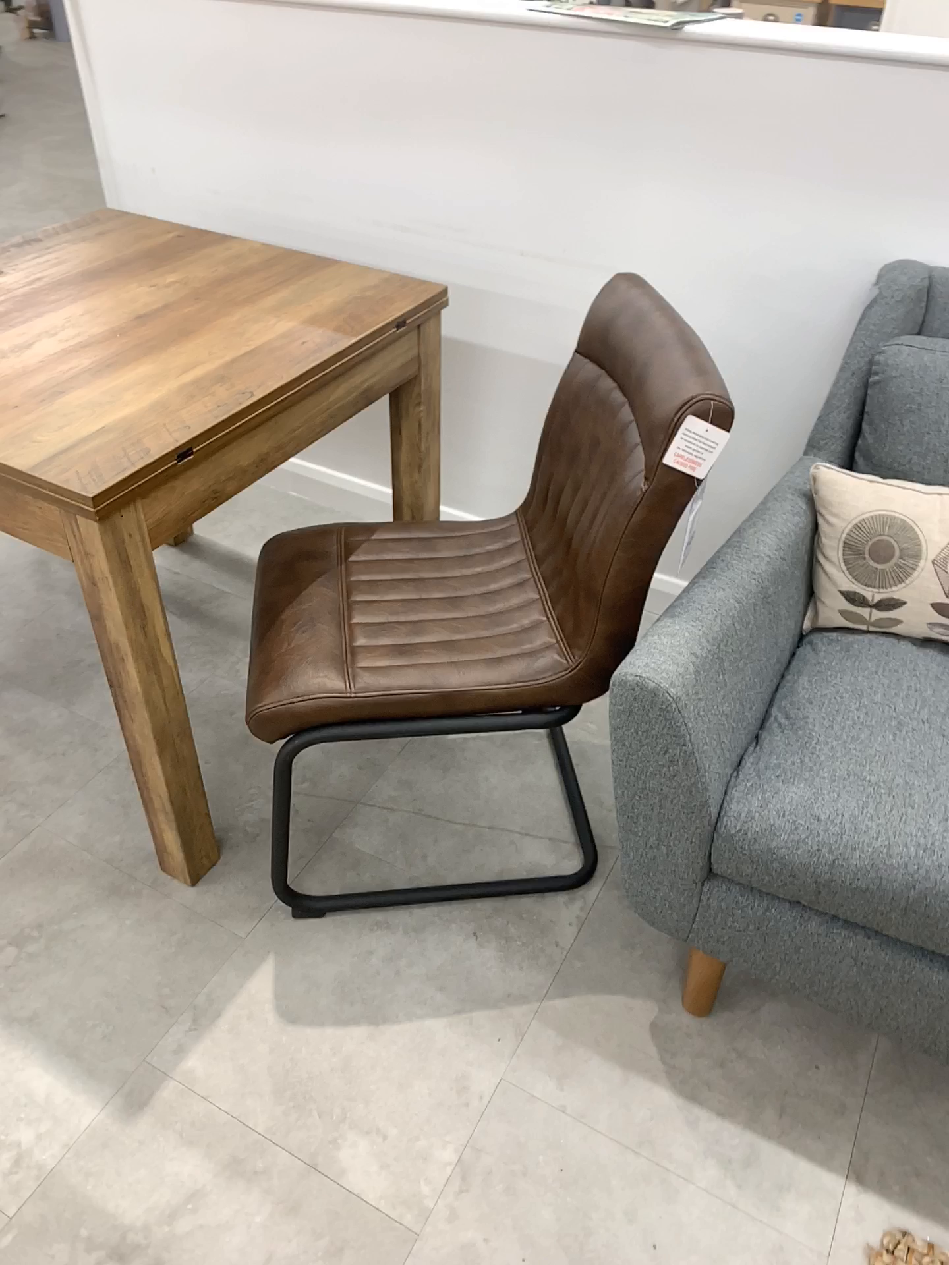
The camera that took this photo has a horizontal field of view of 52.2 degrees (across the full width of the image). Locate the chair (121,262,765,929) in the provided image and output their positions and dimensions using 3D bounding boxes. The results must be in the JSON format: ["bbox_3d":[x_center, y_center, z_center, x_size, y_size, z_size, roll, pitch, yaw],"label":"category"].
[{"bbox_3d":[-0.054,-0.046,1.384,0.632,0.773,0.502,-3,39,-5],"label":"chair"}]
